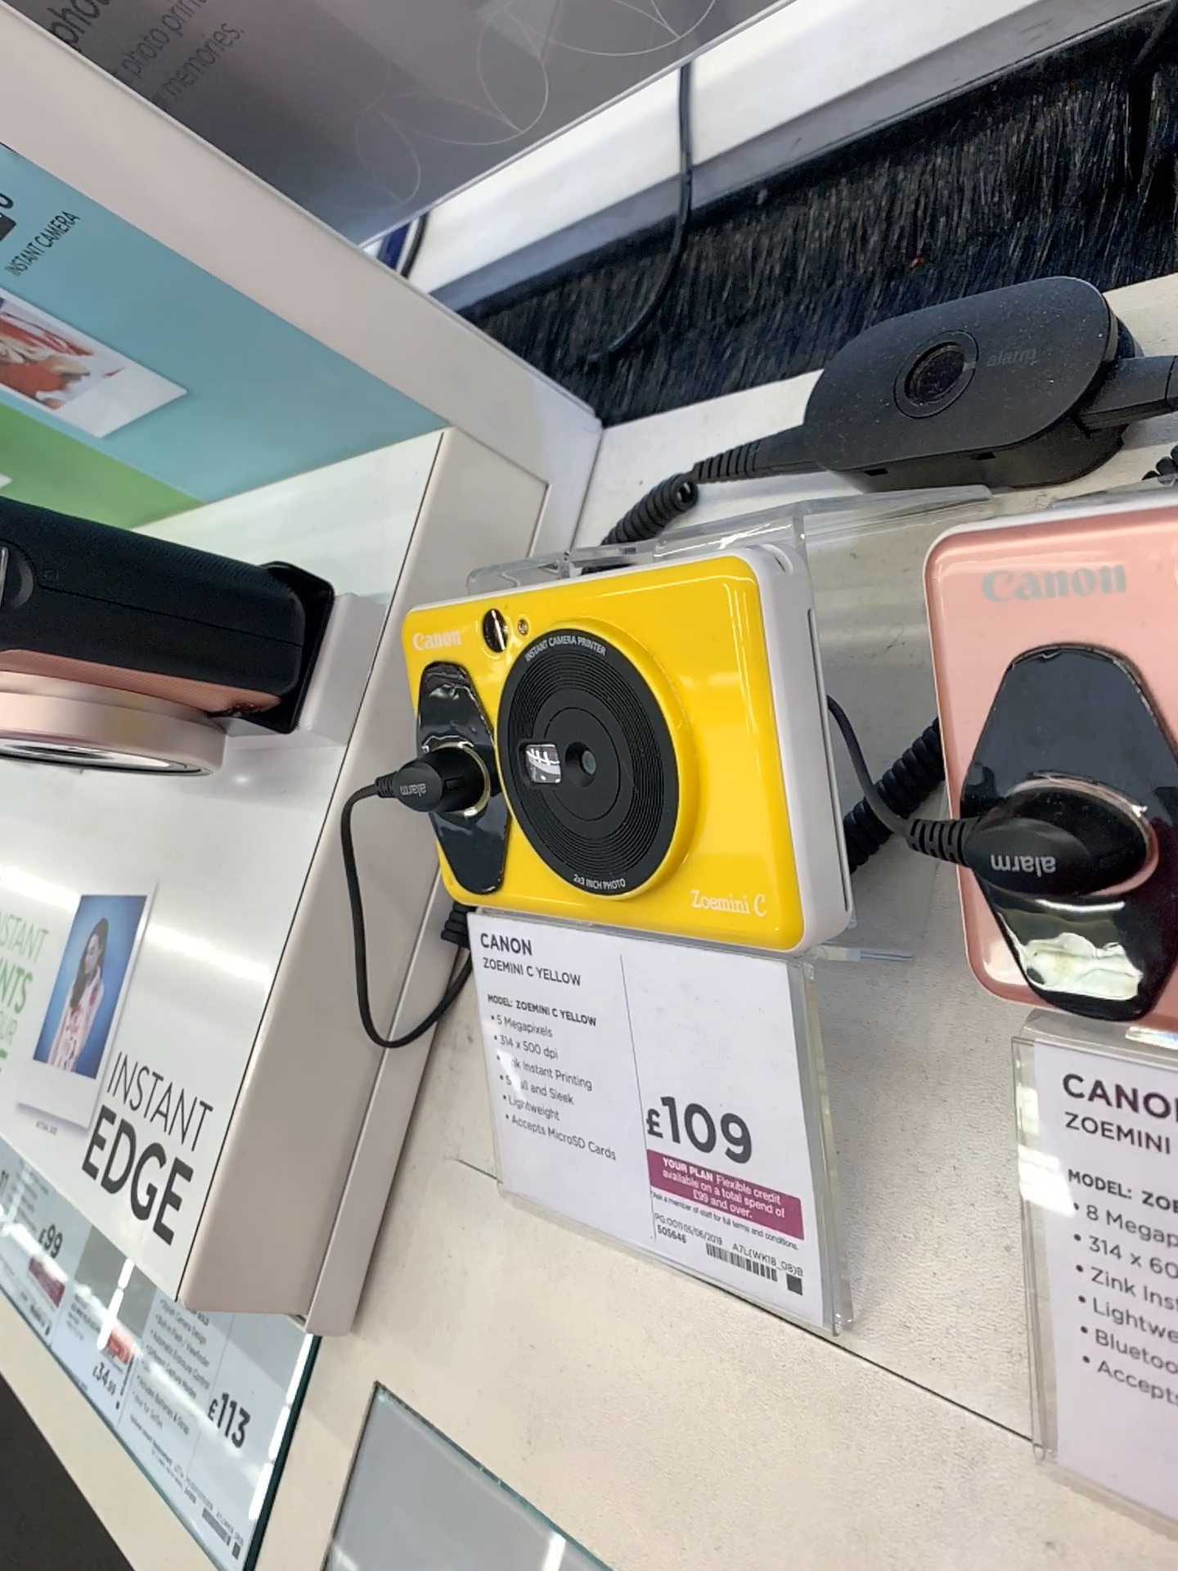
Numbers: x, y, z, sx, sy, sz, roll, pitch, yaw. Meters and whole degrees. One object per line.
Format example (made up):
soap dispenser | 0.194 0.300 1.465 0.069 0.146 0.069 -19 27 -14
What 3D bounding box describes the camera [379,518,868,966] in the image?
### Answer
camera | 0.001 -0.009 0.270 0.121 0.020 0.080 1 103 49
